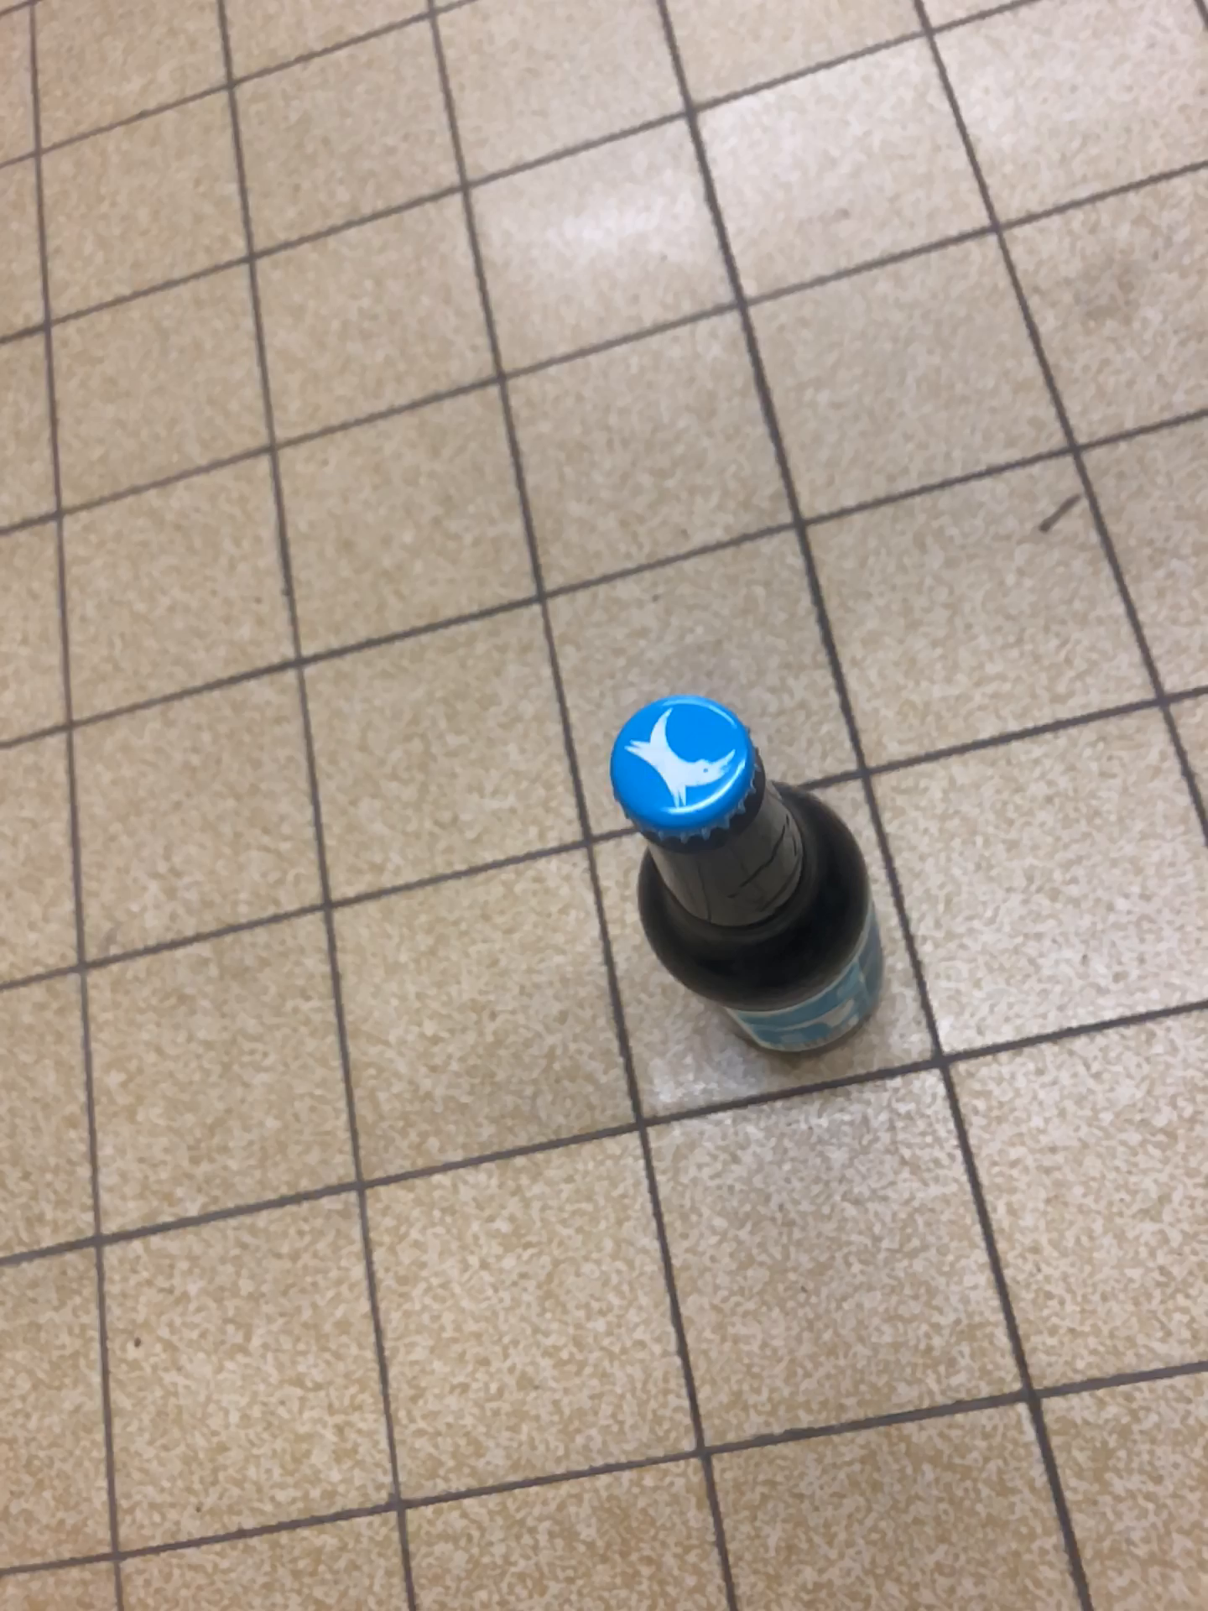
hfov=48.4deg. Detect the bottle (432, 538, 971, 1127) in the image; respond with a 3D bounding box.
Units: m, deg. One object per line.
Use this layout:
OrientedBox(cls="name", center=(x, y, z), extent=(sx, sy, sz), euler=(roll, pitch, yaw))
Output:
OrientedBox(cls="bottle", center=(0.040, 0.025, 0.341), extent=(0.070, 0.210, 0.070), euler=(-4, 73, 13))
